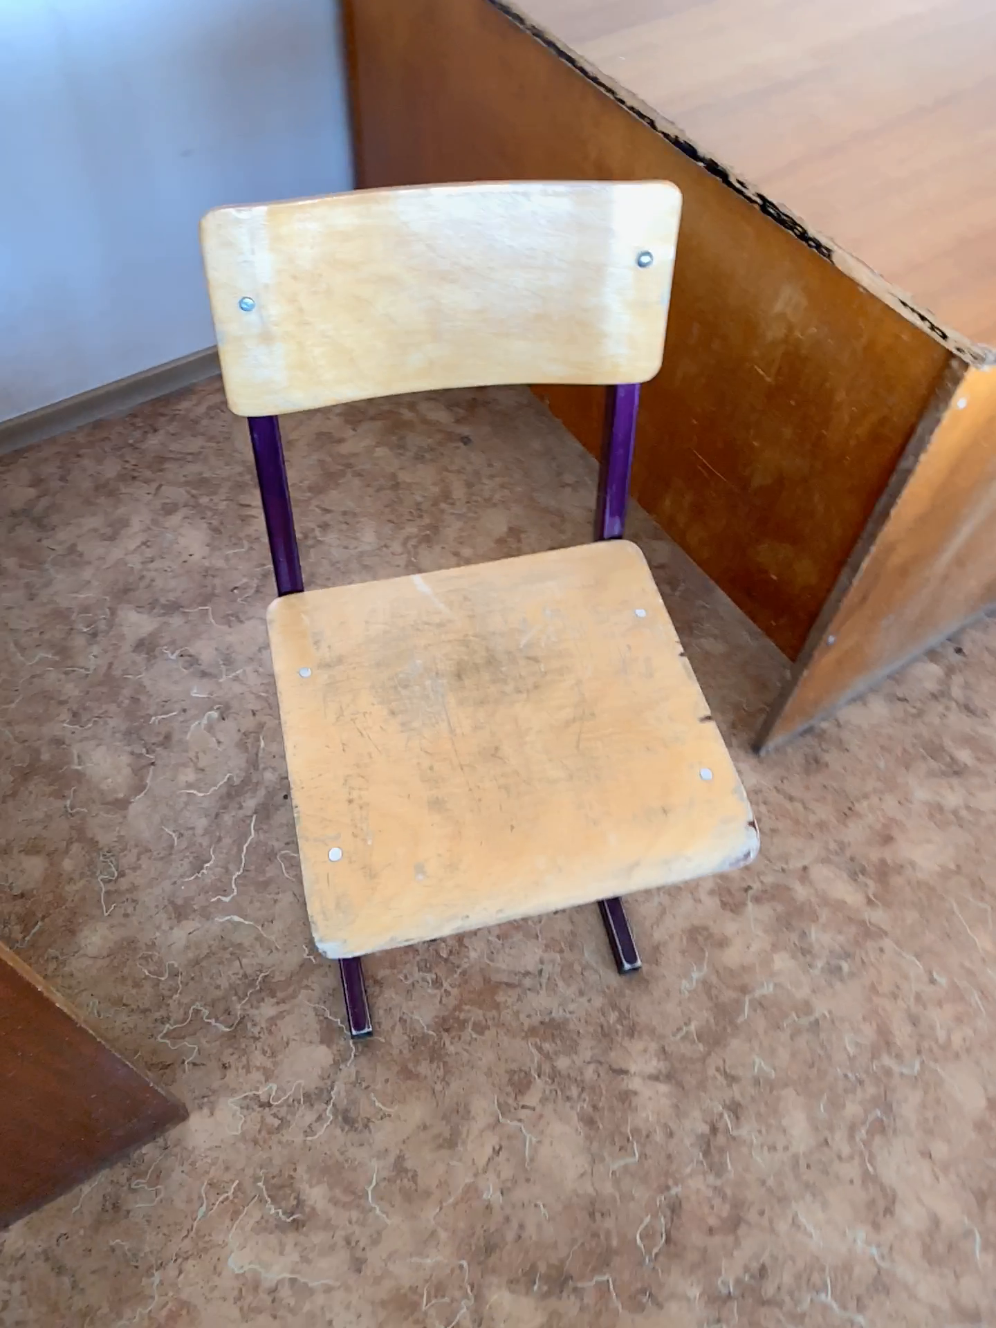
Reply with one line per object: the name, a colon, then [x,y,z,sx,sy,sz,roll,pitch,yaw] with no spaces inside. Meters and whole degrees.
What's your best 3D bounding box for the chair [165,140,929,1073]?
chair: [-0.020,0.013,0.952,0.380,0.735,0.473,-10,57,-9]
